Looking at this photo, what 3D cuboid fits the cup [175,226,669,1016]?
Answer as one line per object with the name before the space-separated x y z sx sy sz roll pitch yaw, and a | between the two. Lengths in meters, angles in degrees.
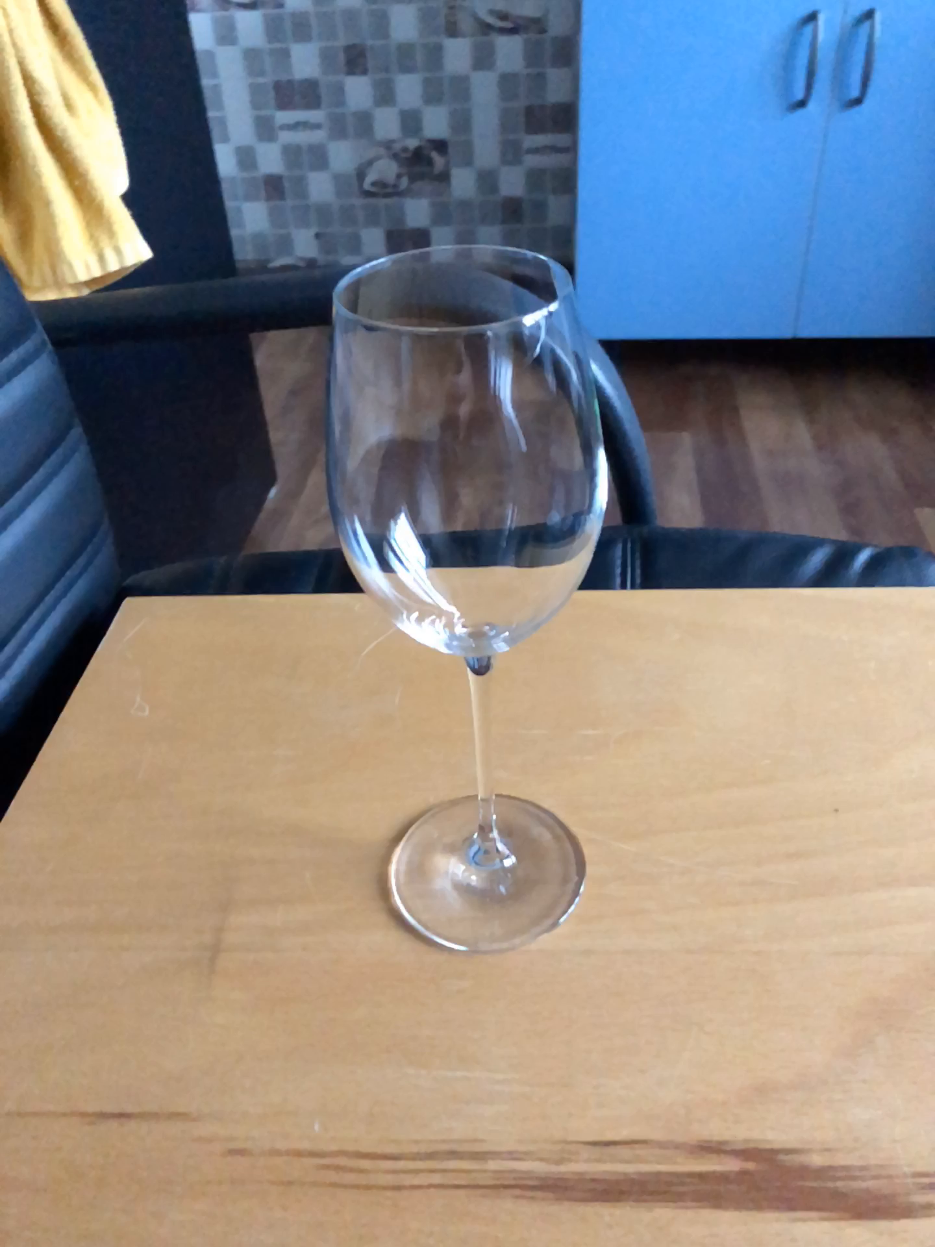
cup | -0.005 0.005 0.324 0.089 0.218 0.090 -2 37 1
